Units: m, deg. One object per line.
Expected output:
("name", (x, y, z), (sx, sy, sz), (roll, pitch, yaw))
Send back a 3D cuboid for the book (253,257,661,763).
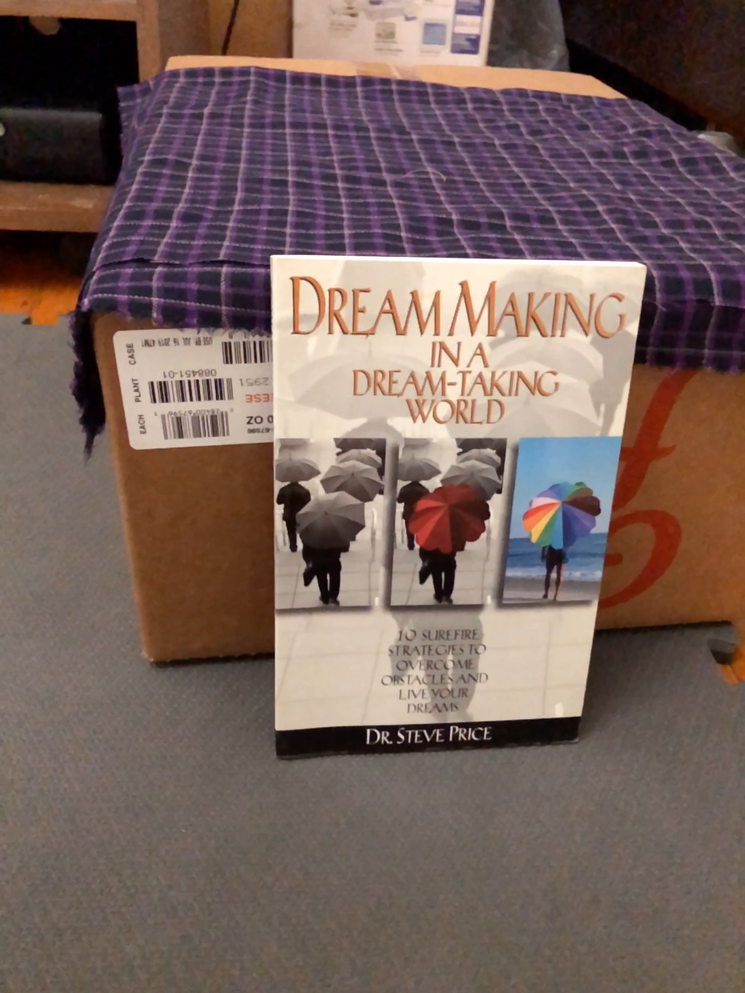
("book", (0.030, 0.014, 0.349), (0.150, 0.219, 0.020), (-1, 22, -5))
